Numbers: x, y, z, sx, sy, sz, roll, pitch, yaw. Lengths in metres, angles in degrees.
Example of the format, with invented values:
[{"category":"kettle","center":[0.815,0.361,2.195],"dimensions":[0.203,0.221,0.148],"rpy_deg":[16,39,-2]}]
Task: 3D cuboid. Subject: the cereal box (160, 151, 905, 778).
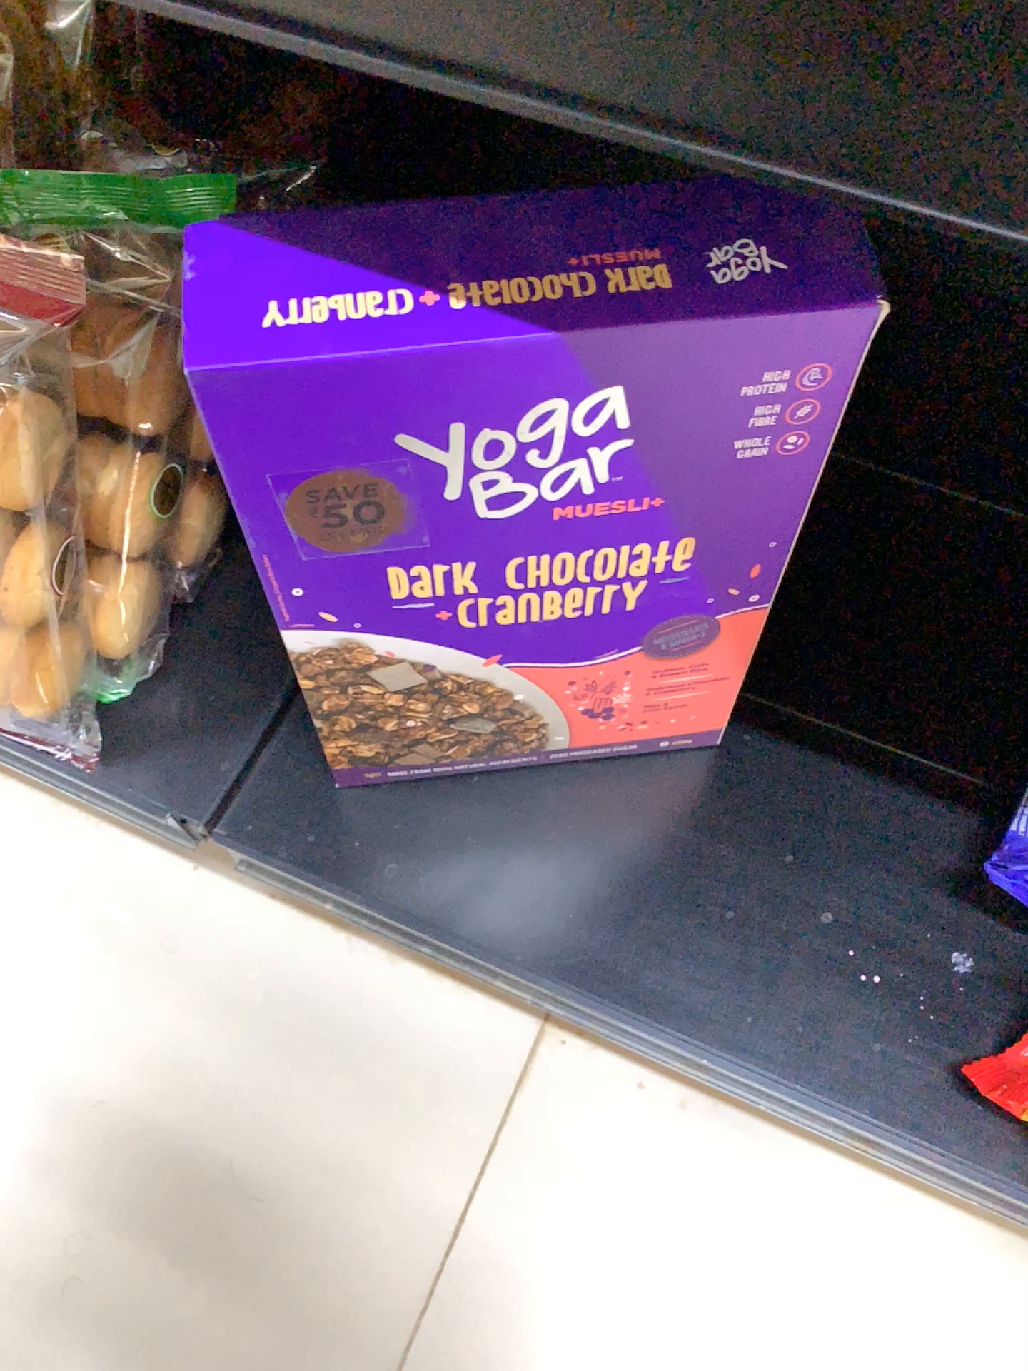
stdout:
[{"category":"cereal box","center":[0.002,-0.050,0.352],"dimensions":[0.170,0.229,0.050],"rpy_deg":[-5,59,-4]}]
